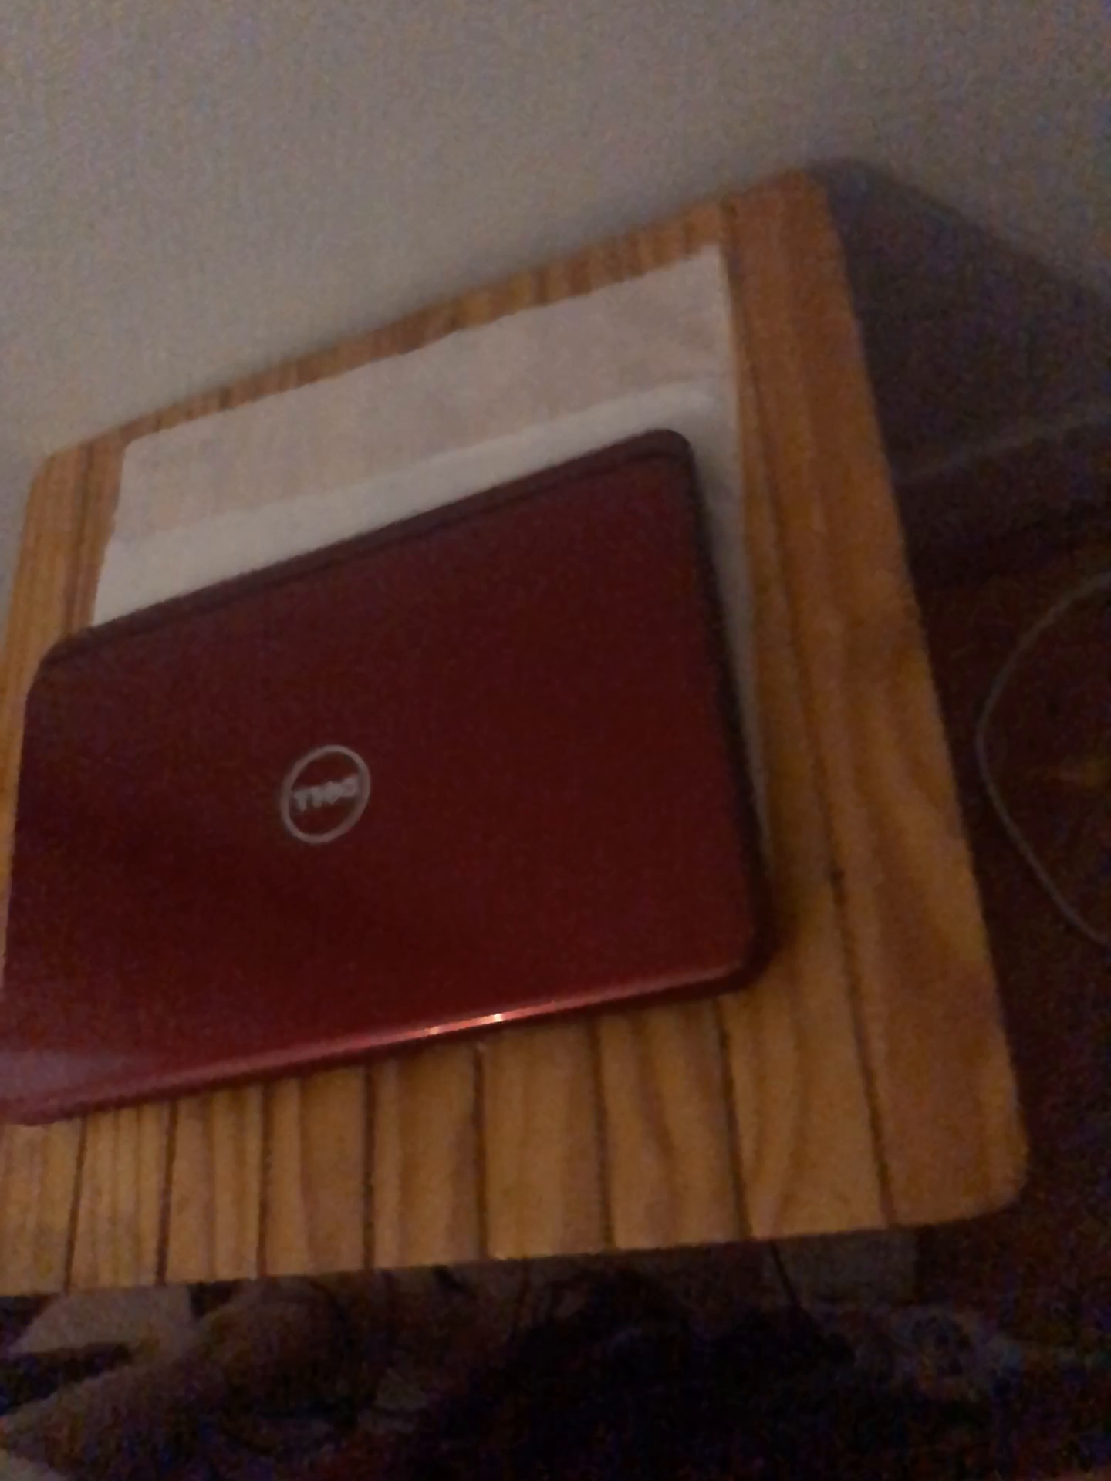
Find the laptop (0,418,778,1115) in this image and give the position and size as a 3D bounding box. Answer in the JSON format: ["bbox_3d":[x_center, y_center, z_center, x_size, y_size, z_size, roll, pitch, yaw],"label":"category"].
[{"bbox_3d":[-0.099,0.016,0.561,0.366,0.011,0.246,-15,63,19],"label":"laptop"}]
